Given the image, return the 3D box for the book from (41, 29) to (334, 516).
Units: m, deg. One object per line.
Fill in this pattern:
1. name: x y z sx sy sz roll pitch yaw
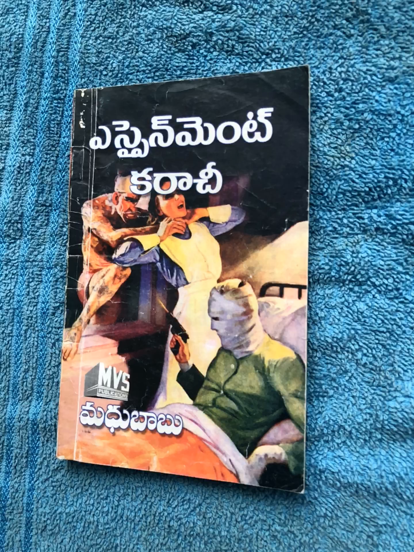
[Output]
1. book: -0.008 -0.004 0.184 0.110 0.020 0.170 1 87 14
